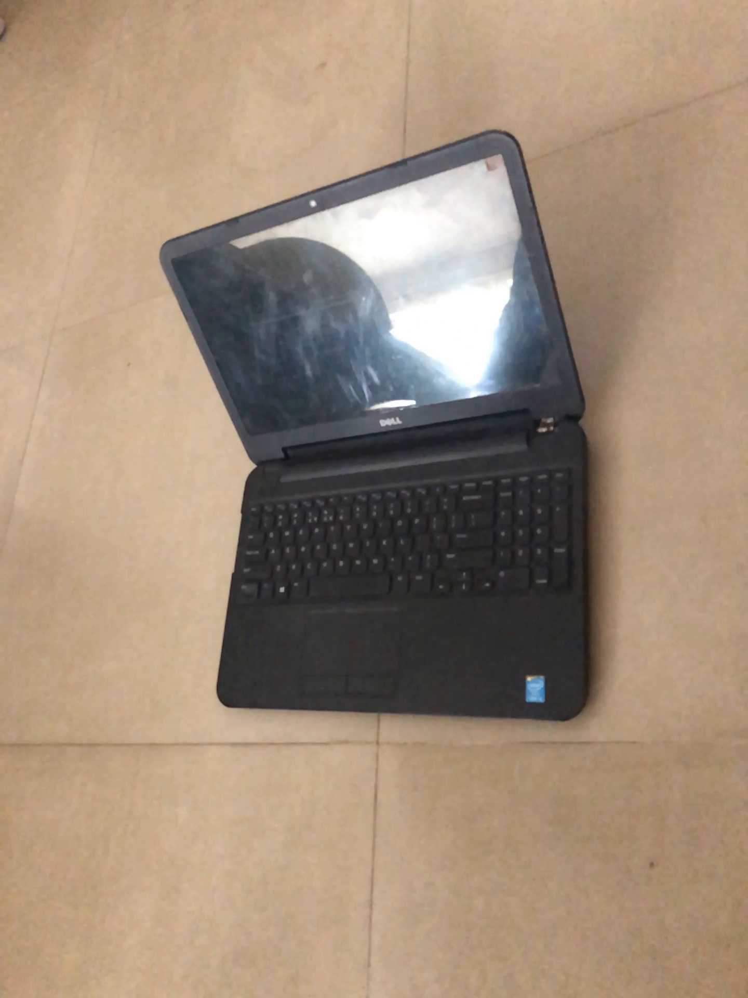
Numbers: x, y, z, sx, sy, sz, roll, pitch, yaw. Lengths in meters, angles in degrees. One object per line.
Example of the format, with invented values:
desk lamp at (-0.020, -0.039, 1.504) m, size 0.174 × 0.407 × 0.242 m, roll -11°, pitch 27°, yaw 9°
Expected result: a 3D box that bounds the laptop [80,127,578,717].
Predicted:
laptop at (-0.023, -0.041, 0.700) m, size 0.344 × 0.178 × 0.405 m, roll -7°, pitch 66°, yaw 31°
